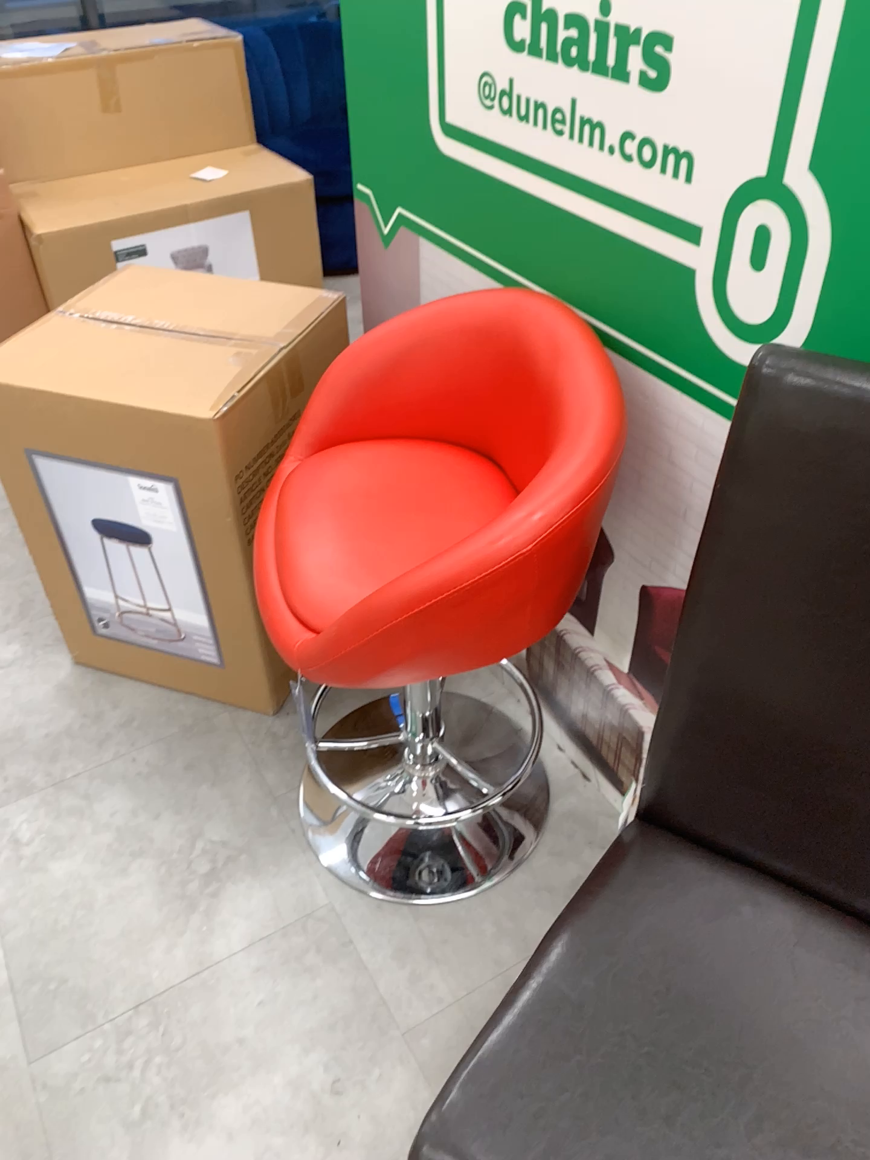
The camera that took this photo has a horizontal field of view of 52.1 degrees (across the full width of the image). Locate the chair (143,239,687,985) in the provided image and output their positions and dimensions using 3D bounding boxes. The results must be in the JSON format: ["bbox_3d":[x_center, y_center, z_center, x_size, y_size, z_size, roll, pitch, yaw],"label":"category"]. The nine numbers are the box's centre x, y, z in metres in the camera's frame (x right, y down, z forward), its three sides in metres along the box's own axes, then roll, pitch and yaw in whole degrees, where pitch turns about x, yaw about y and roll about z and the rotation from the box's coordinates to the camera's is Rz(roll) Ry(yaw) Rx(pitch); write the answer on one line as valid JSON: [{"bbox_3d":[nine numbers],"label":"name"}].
[{"bbox_3d":[-0.058,0.041,1.174,0.461,0.744,0.539,-10,41,-9],"label":"chair"}]

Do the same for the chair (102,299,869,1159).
[{"bbox_3d":[0.221,0.328,0.721,0.505,0.853,0.534,19,44,23],"label":"chair"}]
